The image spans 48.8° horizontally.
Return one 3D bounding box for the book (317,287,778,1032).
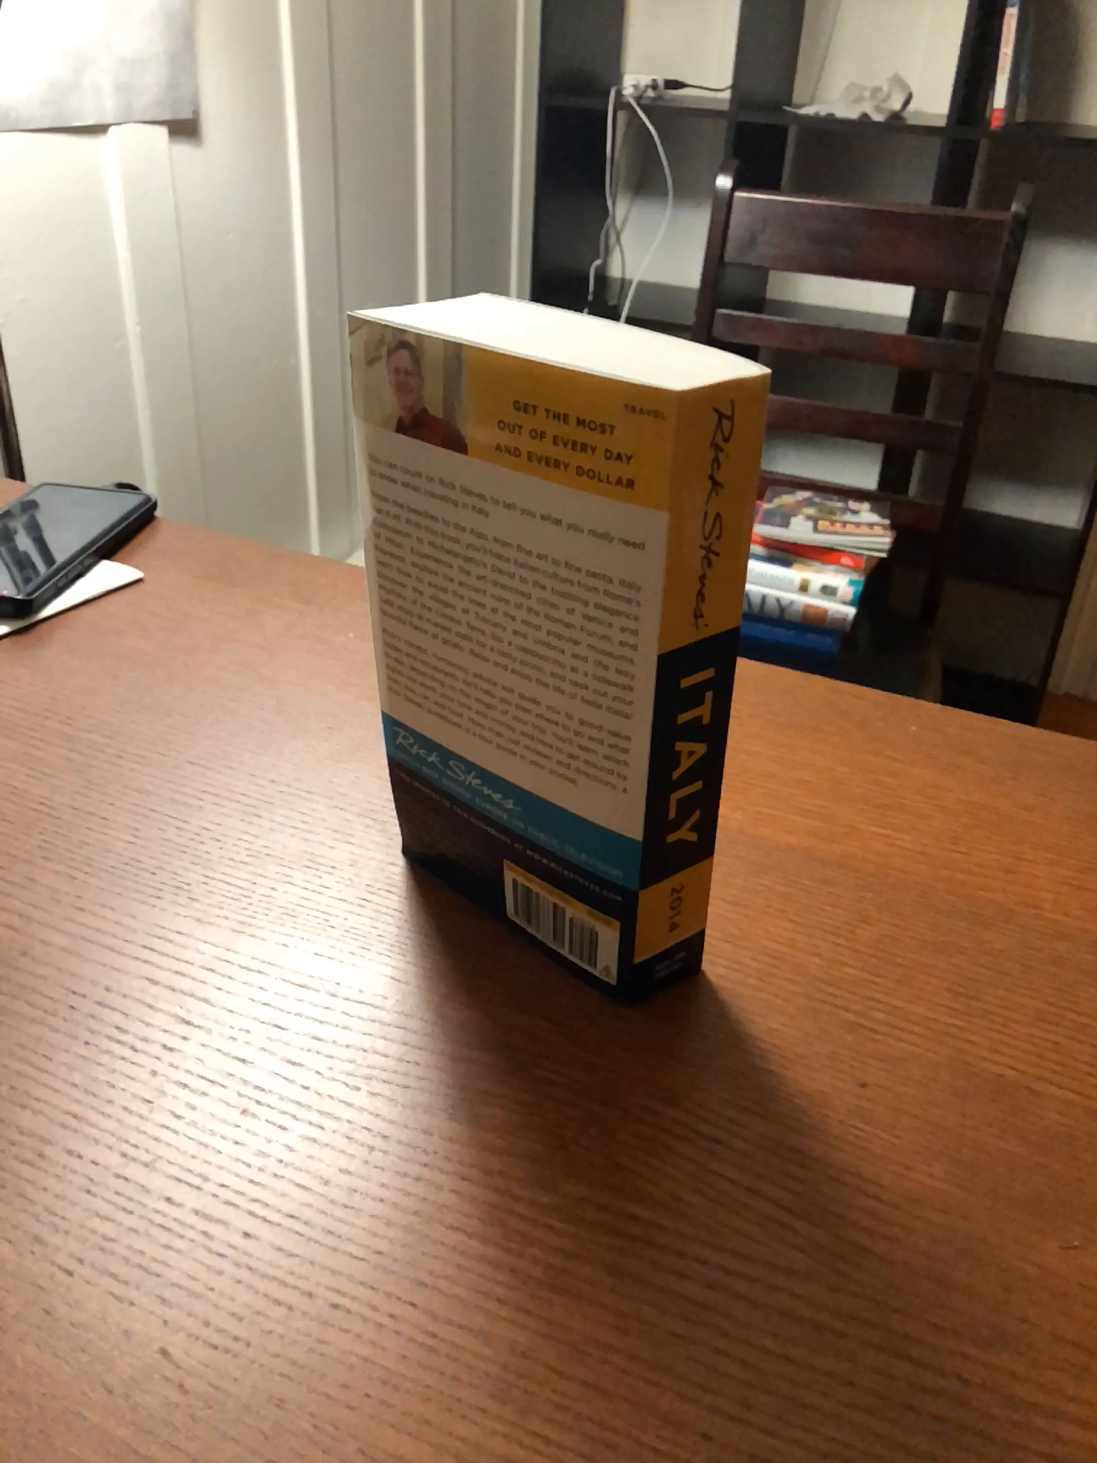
[{"bbox_3d":[-0.004,-0.023,0.385,0.050,0.199,0.130,-28,42,-35],"label":"book"}]
